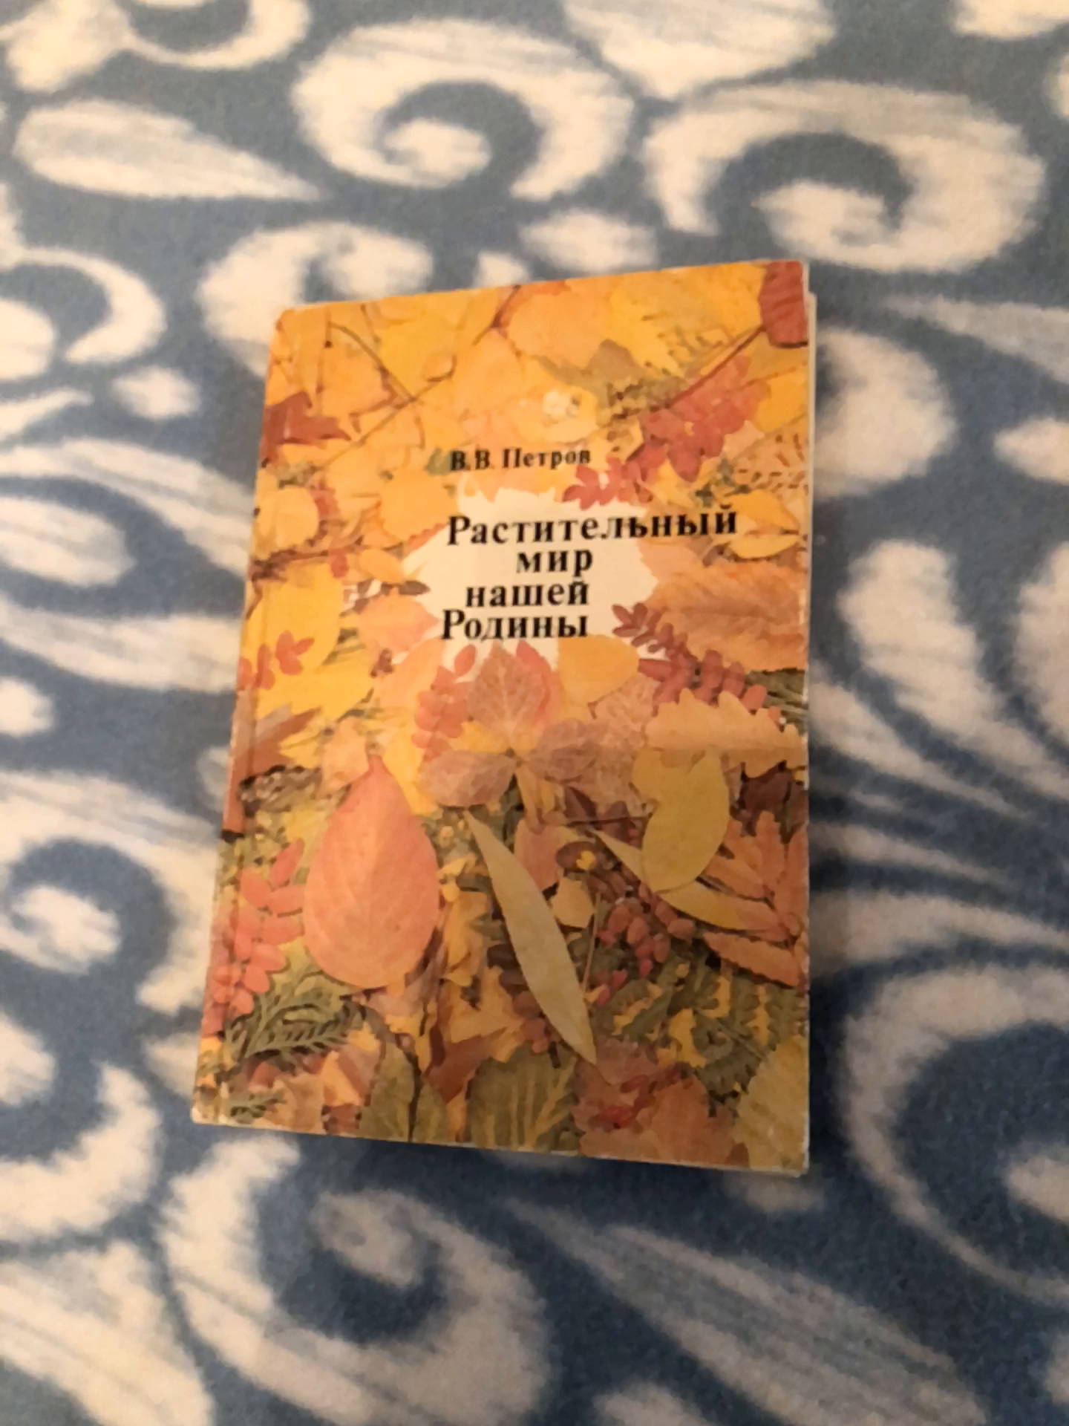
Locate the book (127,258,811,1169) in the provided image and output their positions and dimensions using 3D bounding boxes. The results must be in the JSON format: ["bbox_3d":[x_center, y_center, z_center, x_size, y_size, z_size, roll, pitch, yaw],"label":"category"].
[{"bbox_3d":[-0.013,-0.006,0.294,0.157,0.020,0.208,0,78,13],"label":"book"}]
